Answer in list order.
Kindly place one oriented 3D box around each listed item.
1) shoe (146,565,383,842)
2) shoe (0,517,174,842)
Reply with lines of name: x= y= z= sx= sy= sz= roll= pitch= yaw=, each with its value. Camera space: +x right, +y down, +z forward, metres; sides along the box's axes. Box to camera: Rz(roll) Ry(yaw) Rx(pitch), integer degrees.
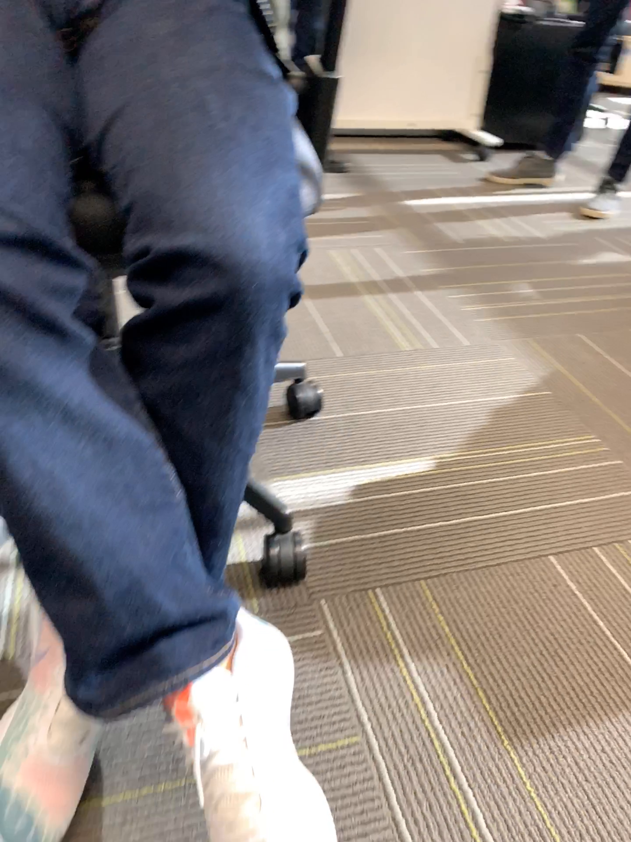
shoe: x=-0.055 y=0.272 z=0.523 sx=0.113 sy=0.108 sz=0.267 roll=32 pitch=27 yaw=-33
shoe: x=-0.230 y=0.248 z=0.629 sx=0.114 sy=0.108 sz=0.287 roll=25 pitch=29 yaw=-20
